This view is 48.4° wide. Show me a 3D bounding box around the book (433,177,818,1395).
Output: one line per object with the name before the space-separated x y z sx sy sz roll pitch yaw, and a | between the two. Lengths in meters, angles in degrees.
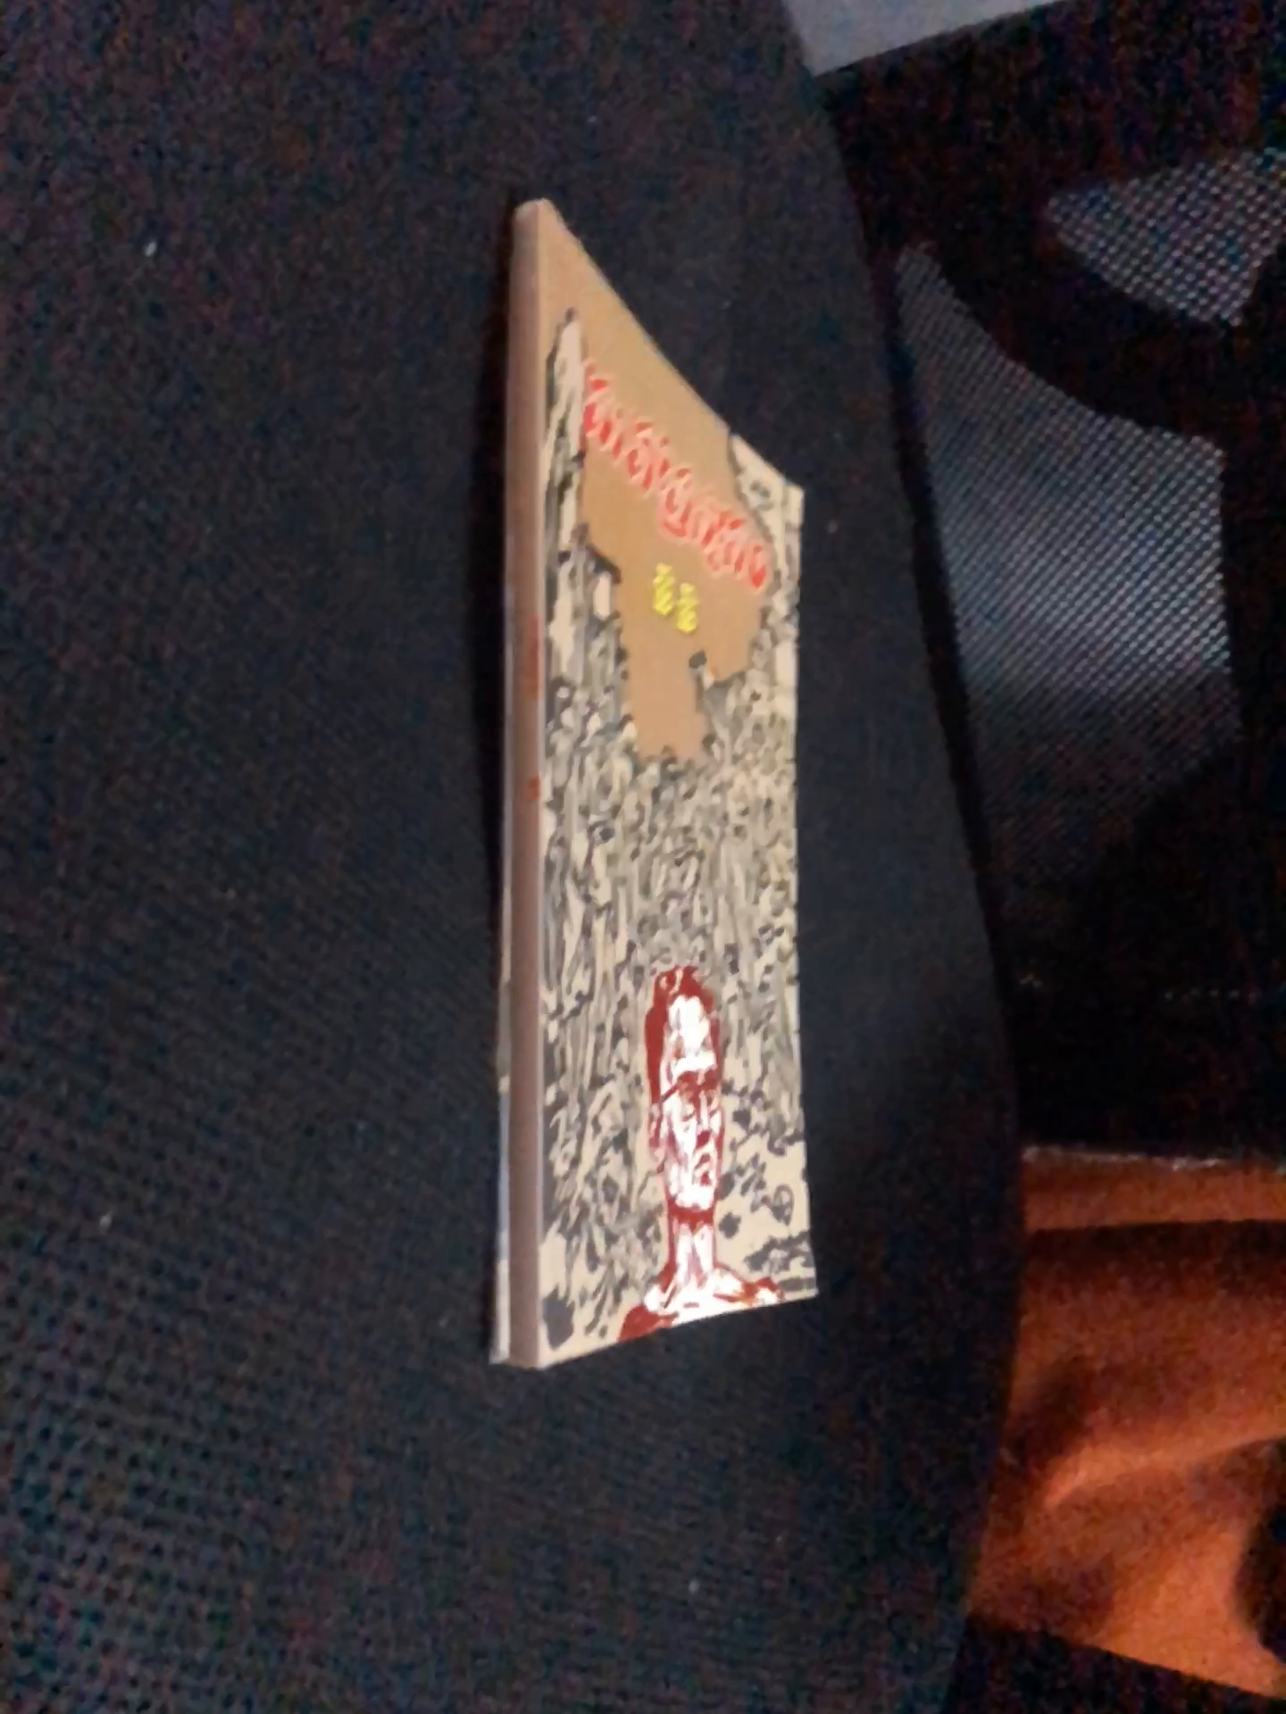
book | 0.006 -0.008 0.319 0.141 0.018 0.220 21 69 -62
